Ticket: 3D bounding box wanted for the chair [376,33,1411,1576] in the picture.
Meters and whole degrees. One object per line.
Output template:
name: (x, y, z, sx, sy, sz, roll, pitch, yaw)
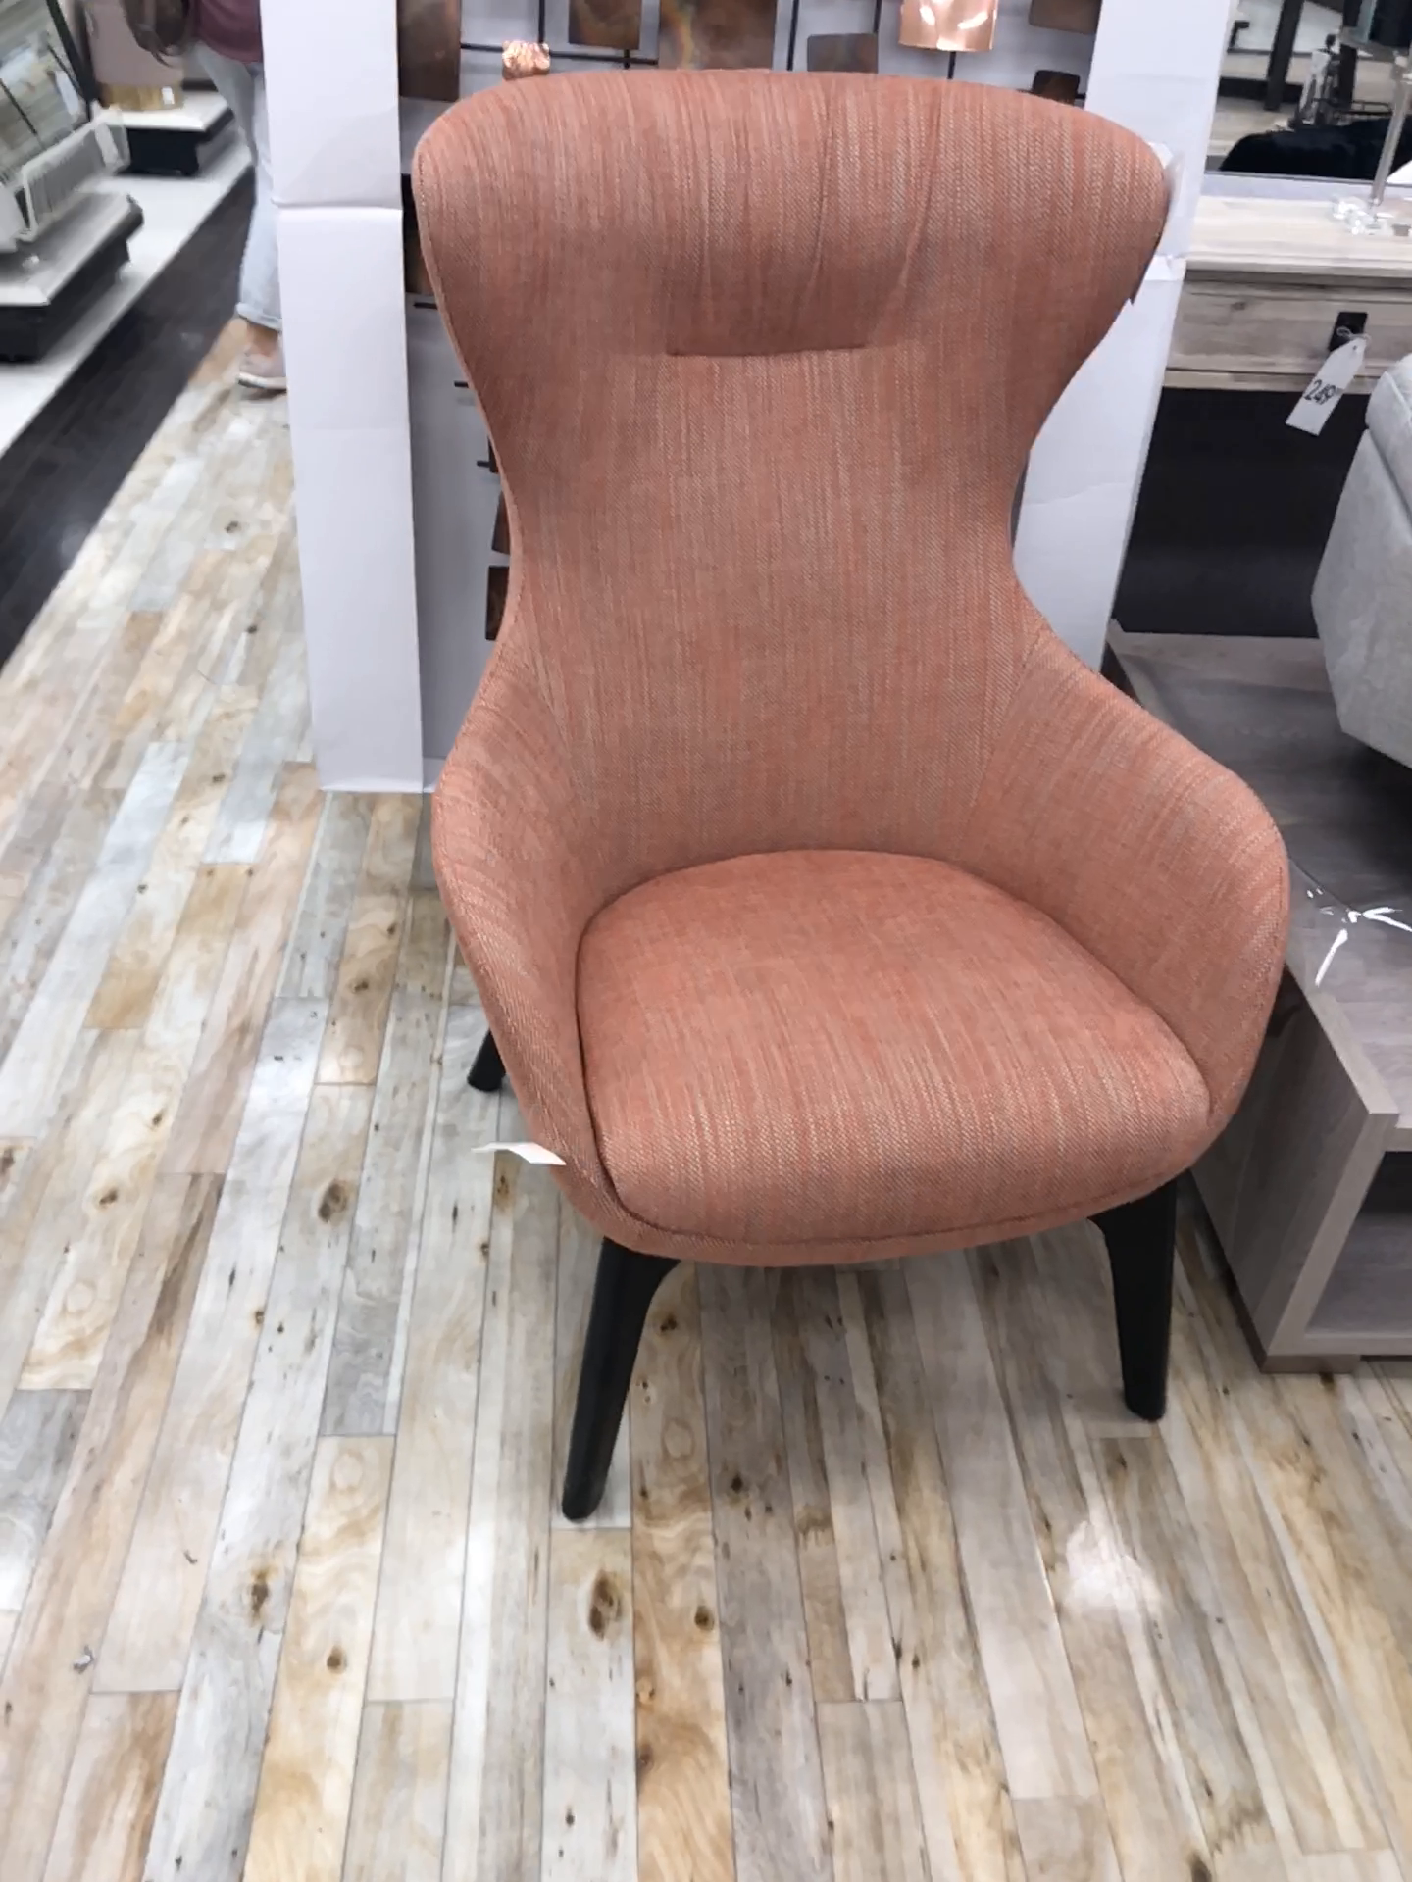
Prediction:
chair: (0.119, -0.137, 1.387, 0.690, 1.065, 0.753, -6, 37, -12)
